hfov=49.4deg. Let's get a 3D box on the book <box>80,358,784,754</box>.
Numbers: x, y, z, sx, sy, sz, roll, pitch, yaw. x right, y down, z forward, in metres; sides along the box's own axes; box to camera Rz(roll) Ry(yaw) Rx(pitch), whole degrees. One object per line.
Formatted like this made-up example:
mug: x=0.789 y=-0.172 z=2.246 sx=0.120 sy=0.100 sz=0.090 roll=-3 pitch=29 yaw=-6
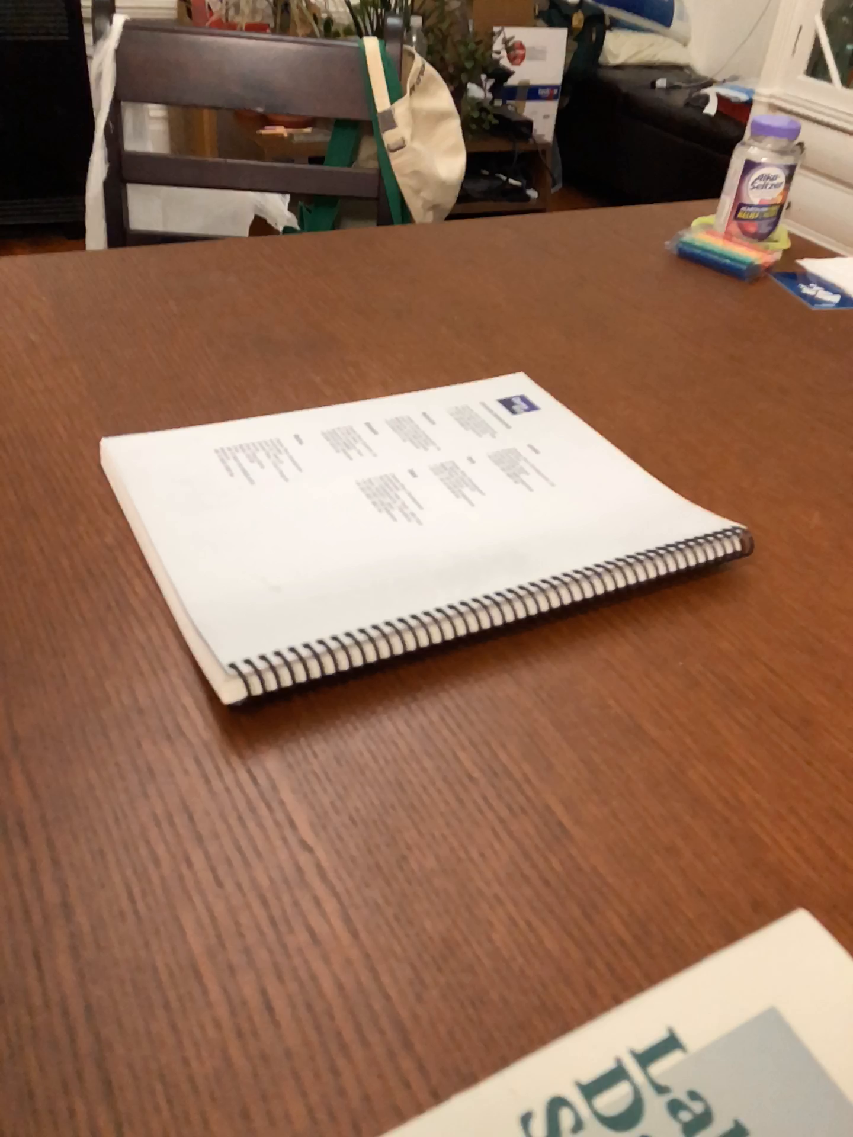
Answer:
book: x=-0.003 y=-0.036 z=0.496 sx=0.301 sy=0.020 sz=0.231 roll=-15 pitch=42 yaw=-25
